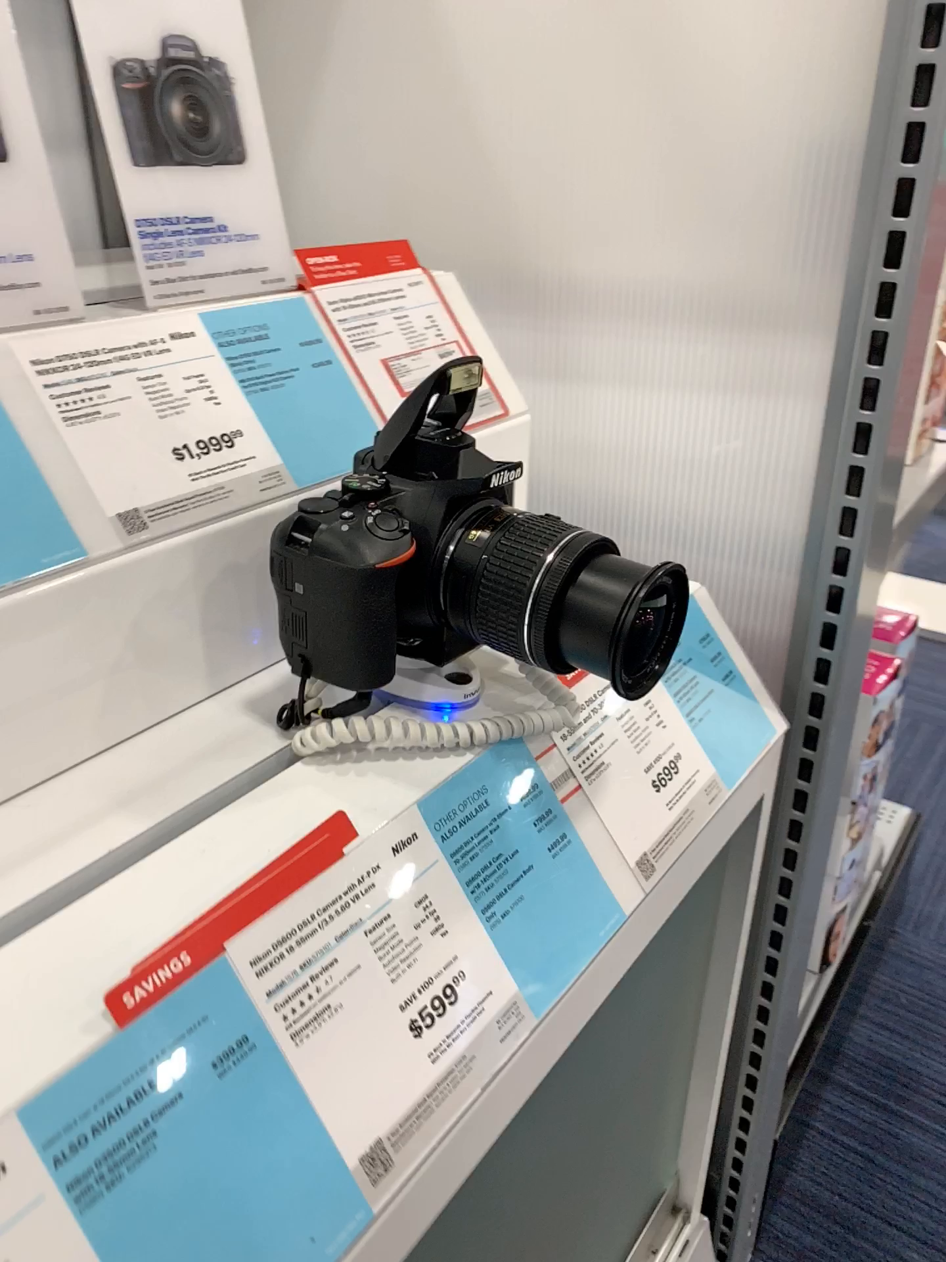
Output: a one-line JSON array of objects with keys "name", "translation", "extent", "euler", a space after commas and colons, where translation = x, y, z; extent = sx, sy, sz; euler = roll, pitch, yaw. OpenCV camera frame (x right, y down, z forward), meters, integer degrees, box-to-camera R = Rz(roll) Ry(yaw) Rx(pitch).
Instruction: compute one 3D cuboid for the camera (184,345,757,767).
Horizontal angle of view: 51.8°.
[{"name": "camera", "translation": [0.001, -0.049, 0.424], "extent": [0.190, 0.109, 0.140], "euler": [15, 30, 29]}]
